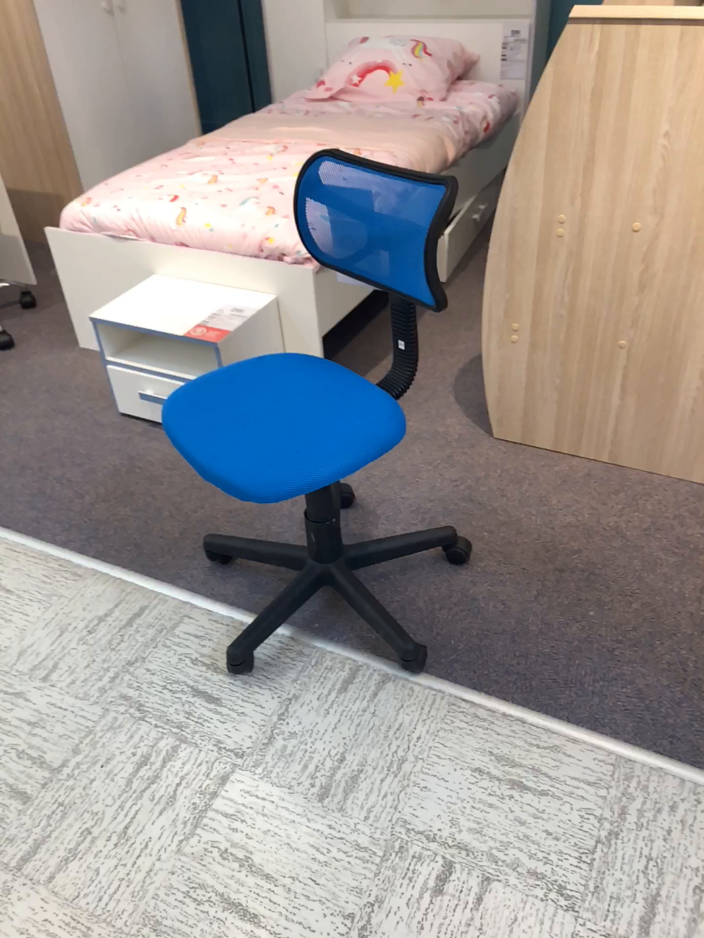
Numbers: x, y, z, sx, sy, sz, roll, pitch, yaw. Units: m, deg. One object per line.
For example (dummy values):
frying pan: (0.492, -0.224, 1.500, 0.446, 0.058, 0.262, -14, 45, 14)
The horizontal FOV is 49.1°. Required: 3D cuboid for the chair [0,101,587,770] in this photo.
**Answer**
chair: (-0.095, -0.114, 1.340, 0.613, 0.795, 0.661, -33, 45, -33)
